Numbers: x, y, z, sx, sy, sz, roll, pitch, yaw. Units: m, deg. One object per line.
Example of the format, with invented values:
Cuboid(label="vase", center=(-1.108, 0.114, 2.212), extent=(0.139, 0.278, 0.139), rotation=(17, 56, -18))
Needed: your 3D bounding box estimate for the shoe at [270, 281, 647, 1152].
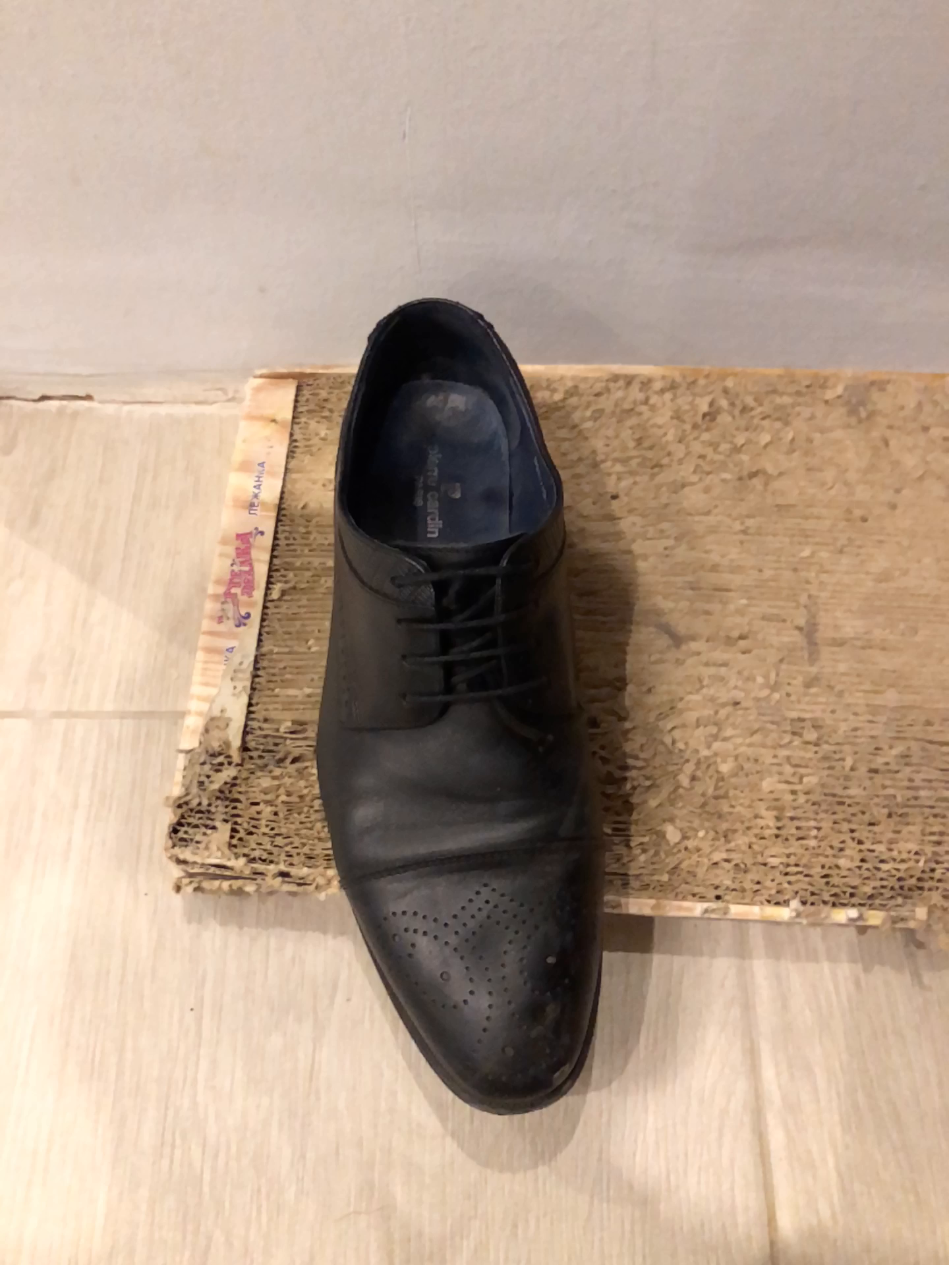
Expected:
Cuboid(label="shoe", center=(-0.014, 0.022, 0.374), extent=(0.090, 0.100, 0.281), rotation=(-6, 66, -1))
